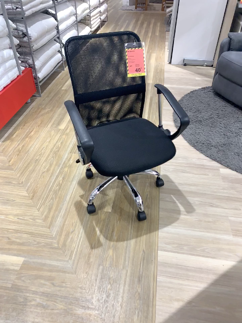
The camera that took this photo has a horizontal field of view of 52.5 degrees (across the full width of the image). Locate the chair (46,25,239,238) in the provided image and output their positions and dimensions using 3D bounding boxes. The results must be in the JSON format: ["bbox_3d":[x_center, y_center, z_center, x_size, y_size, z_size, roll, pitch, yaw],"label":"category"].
[{"bbox_3d":[0.040,-0.178,1.345,0.641,0.865,0.604,-14,42,-17],"label":"chair"}]
